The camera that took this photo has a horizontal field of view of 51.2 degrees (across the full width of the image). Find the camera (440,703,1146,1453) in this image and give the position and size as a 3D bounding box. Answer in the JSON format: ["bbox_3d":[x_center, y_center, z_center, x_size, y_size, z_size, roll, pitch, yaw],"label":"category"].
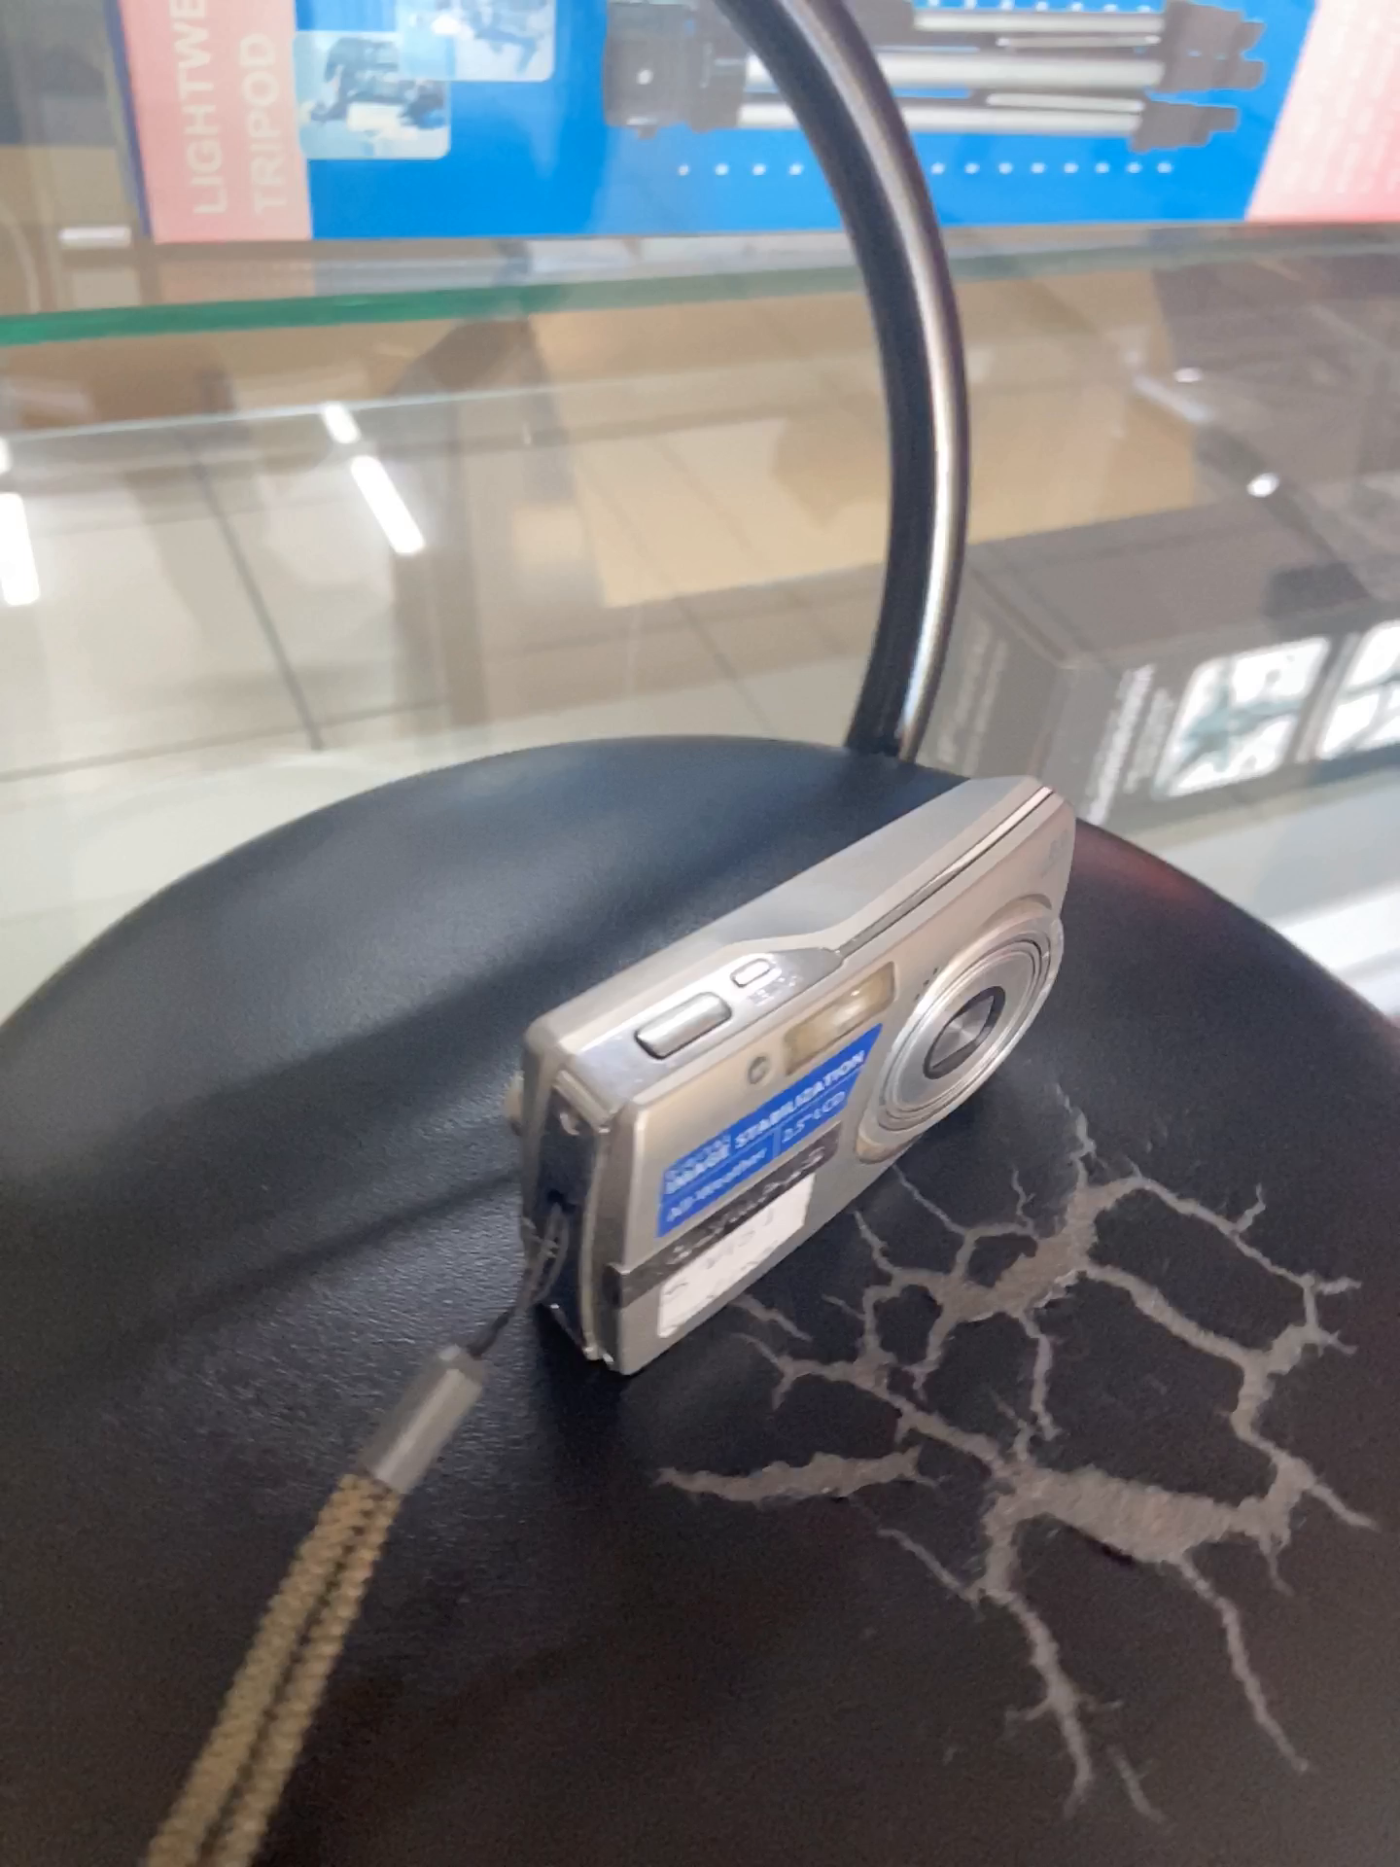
[{"bbox_3d":[0.014,0.017,0.206,0.100,0.060,0.030,-32,56,-33],"label":"camera"}]
